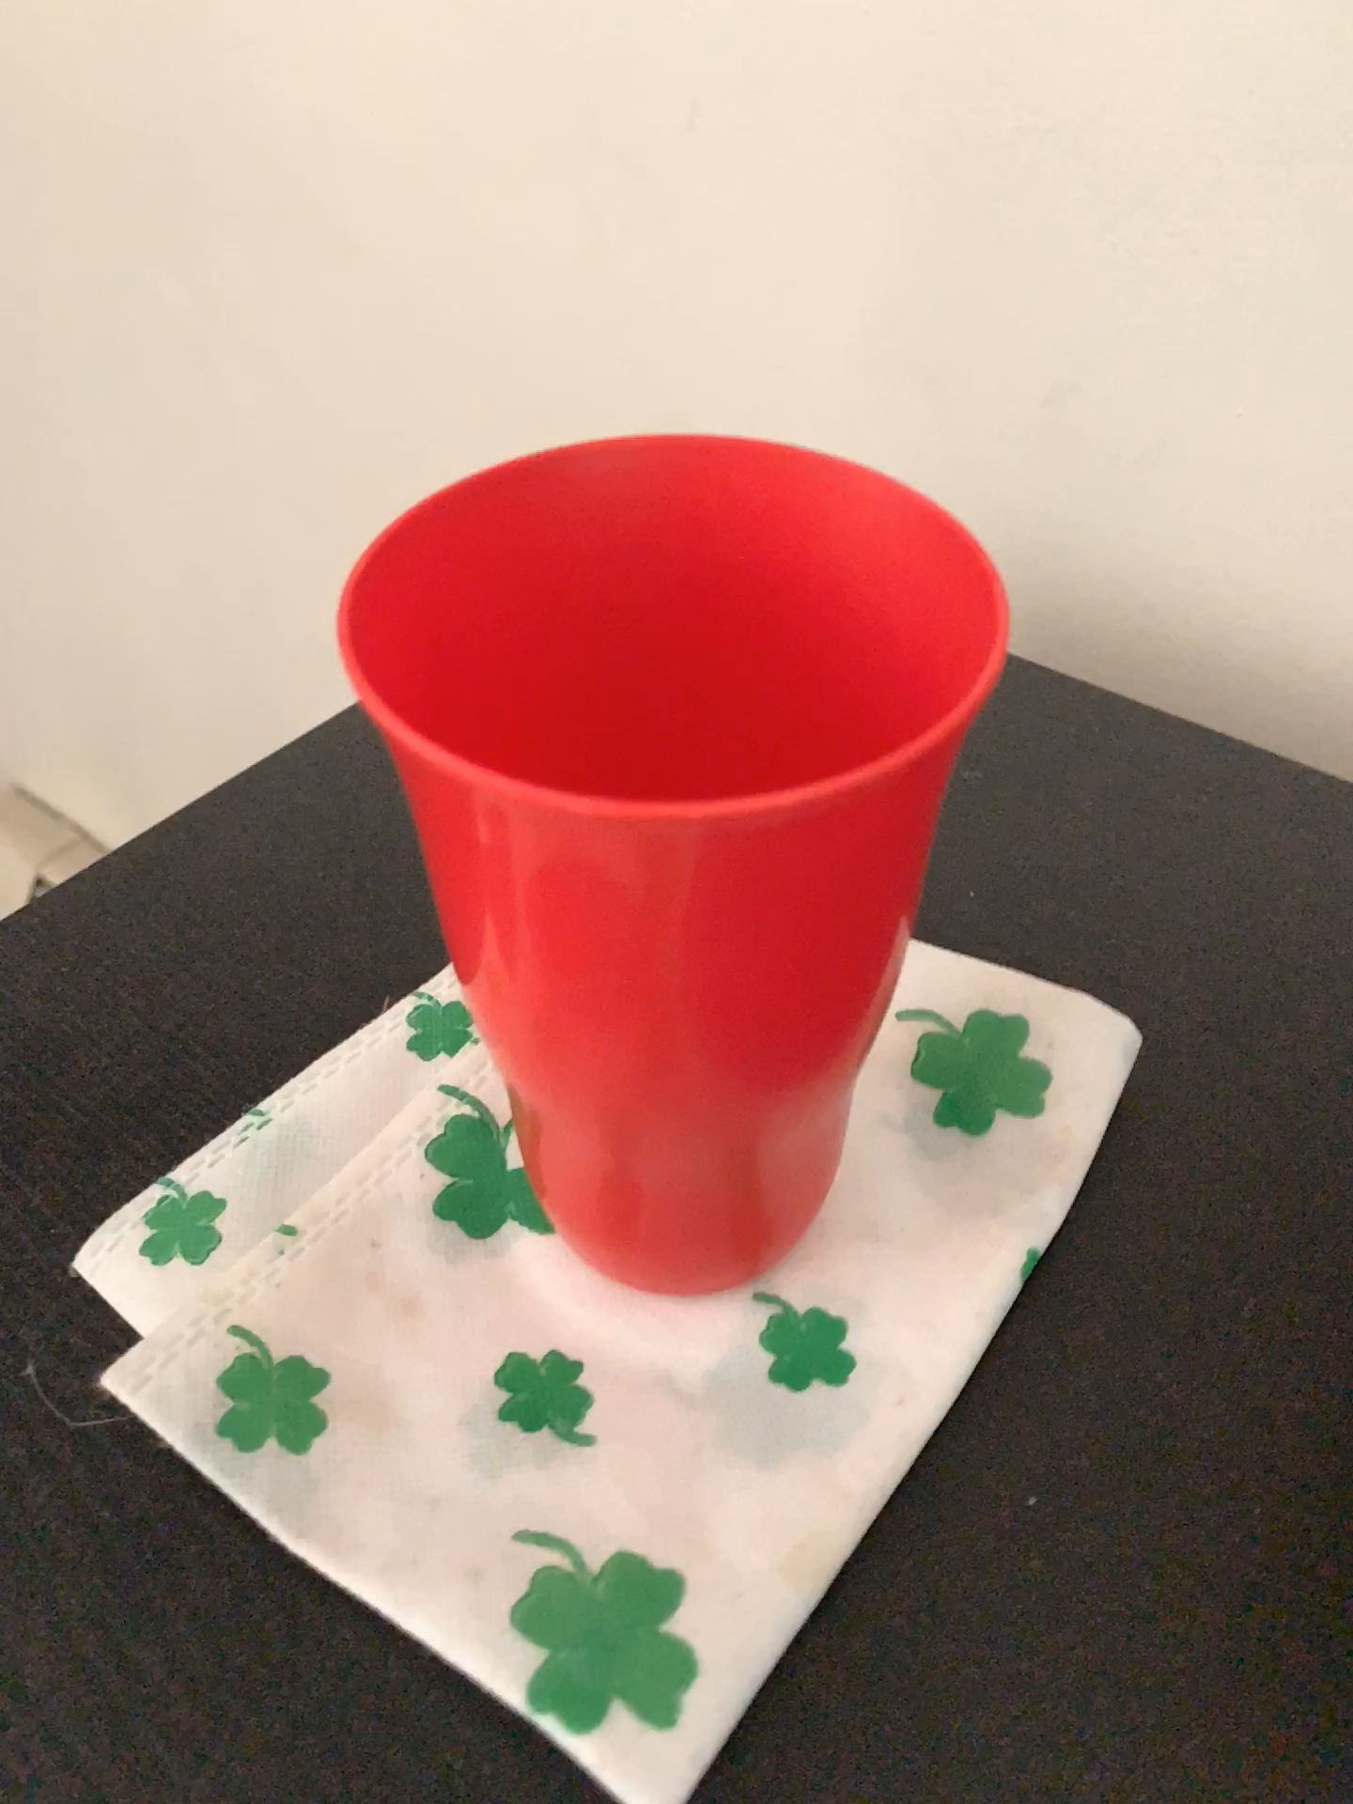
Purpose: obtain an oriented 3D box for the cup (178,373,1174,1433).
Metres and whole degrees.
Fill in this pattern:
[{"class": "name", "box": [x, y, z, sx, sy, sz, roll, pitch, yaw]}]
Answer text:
[{"class": "cup", "box": [-0.002, -0.004, 0.191, 0.082, 0.091, 0.080, 0, 44, 0]}]
